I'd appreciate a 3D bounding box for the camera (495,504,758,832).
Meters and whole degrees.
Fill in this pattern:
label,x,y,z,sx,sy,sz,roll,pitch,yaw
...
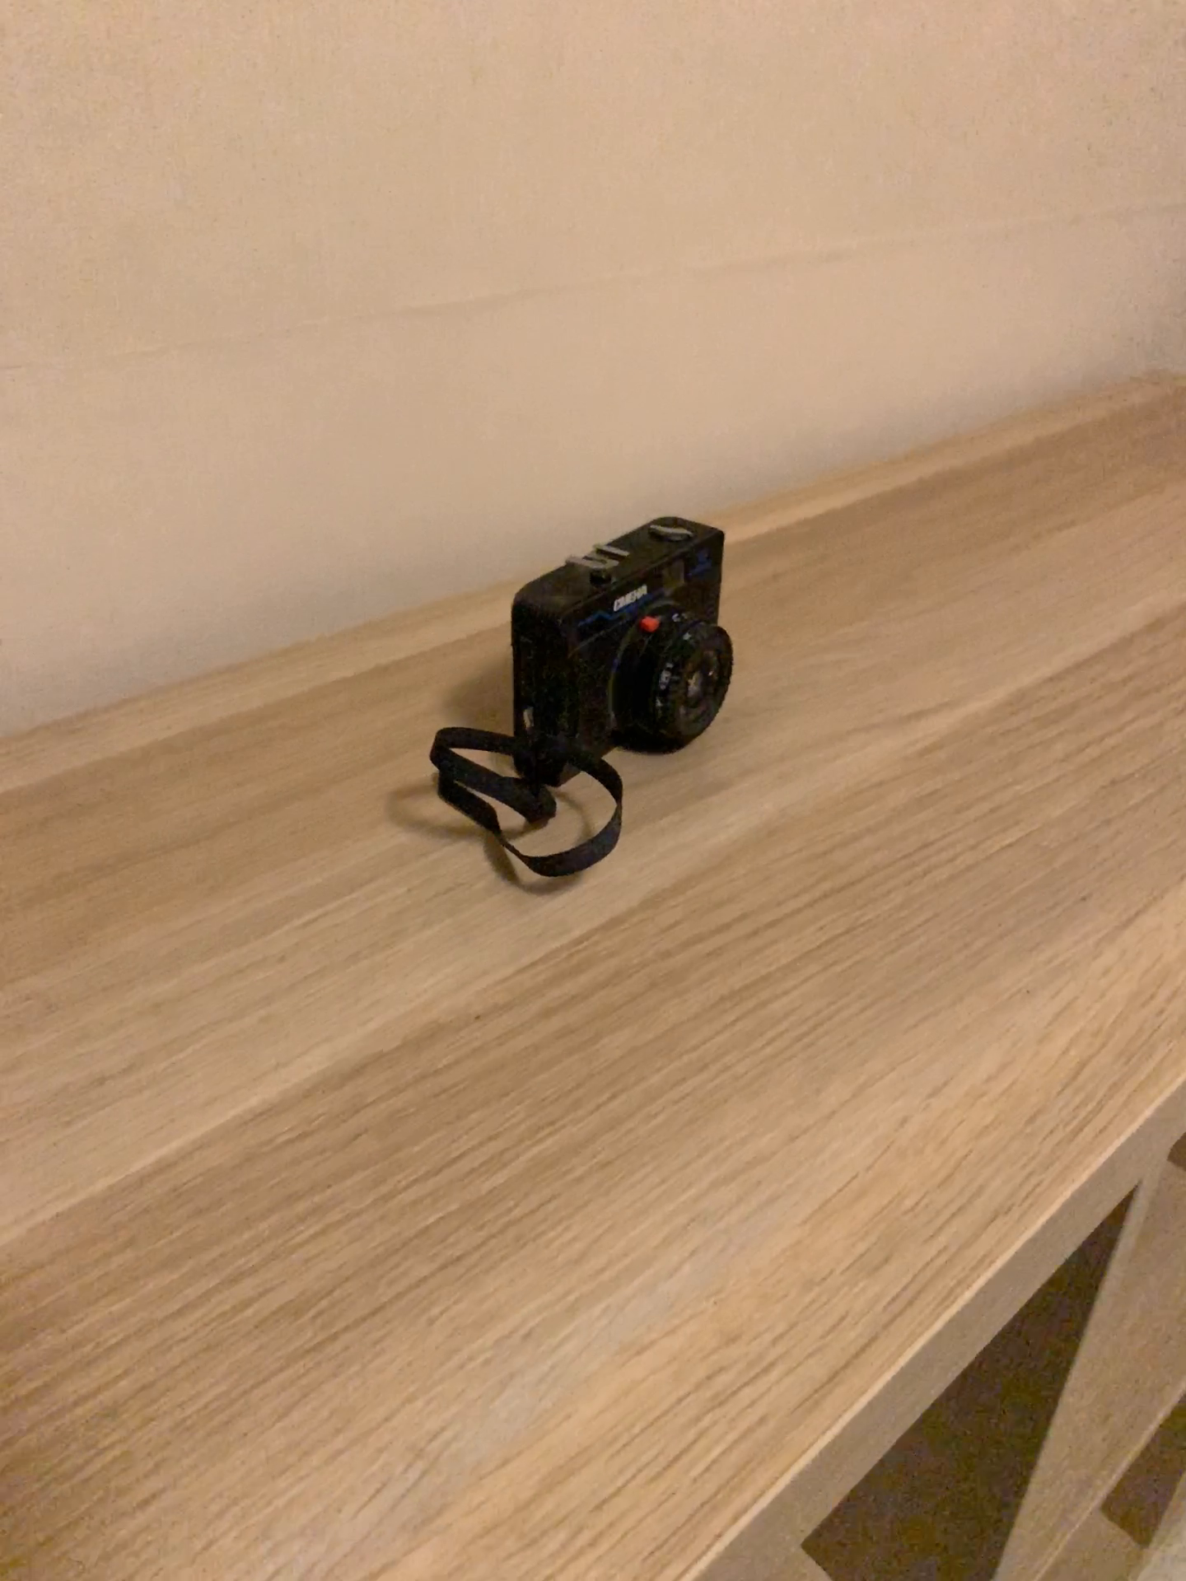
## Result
label,x,y,z,sx,sy,sz,roll,pitch,yaw
camera,0.014,-0.052,0.484,0.040,0.089,0.111,25,39,29
